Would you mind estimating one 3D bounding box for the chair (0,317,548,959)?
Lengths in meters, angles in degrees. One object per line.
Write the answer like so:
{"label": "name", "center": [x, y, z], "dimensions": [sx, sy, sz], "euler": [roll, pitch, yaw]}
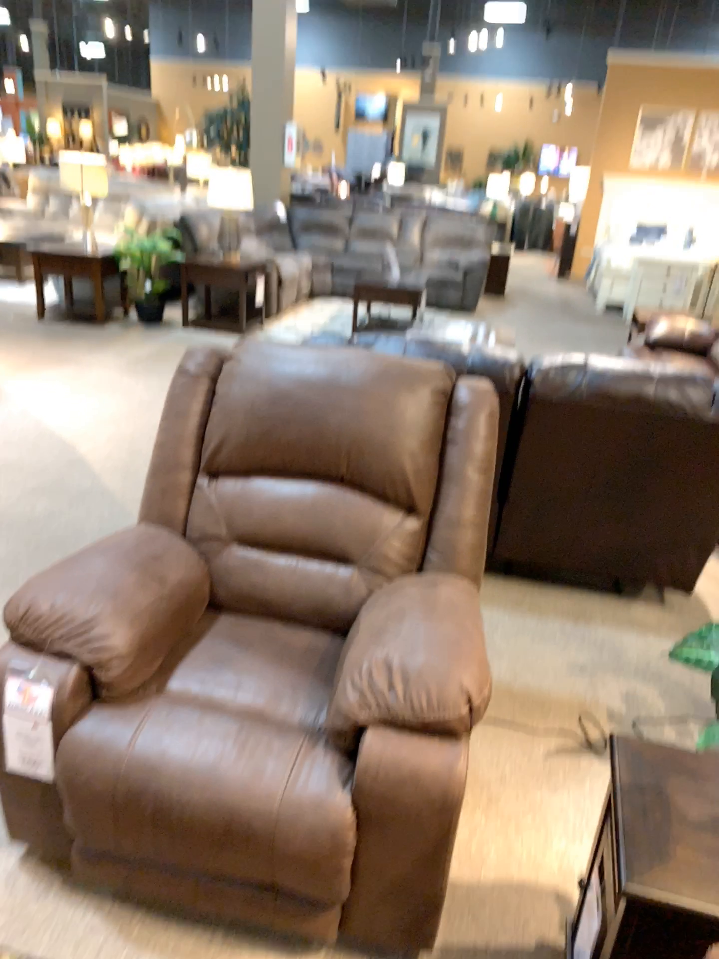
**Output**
{"label": "chair", "center": [-0.149, 0.272, 1.811], "dimensions": [1.001, 1.028, 1.068], "euler": [10, 24, 11]}
